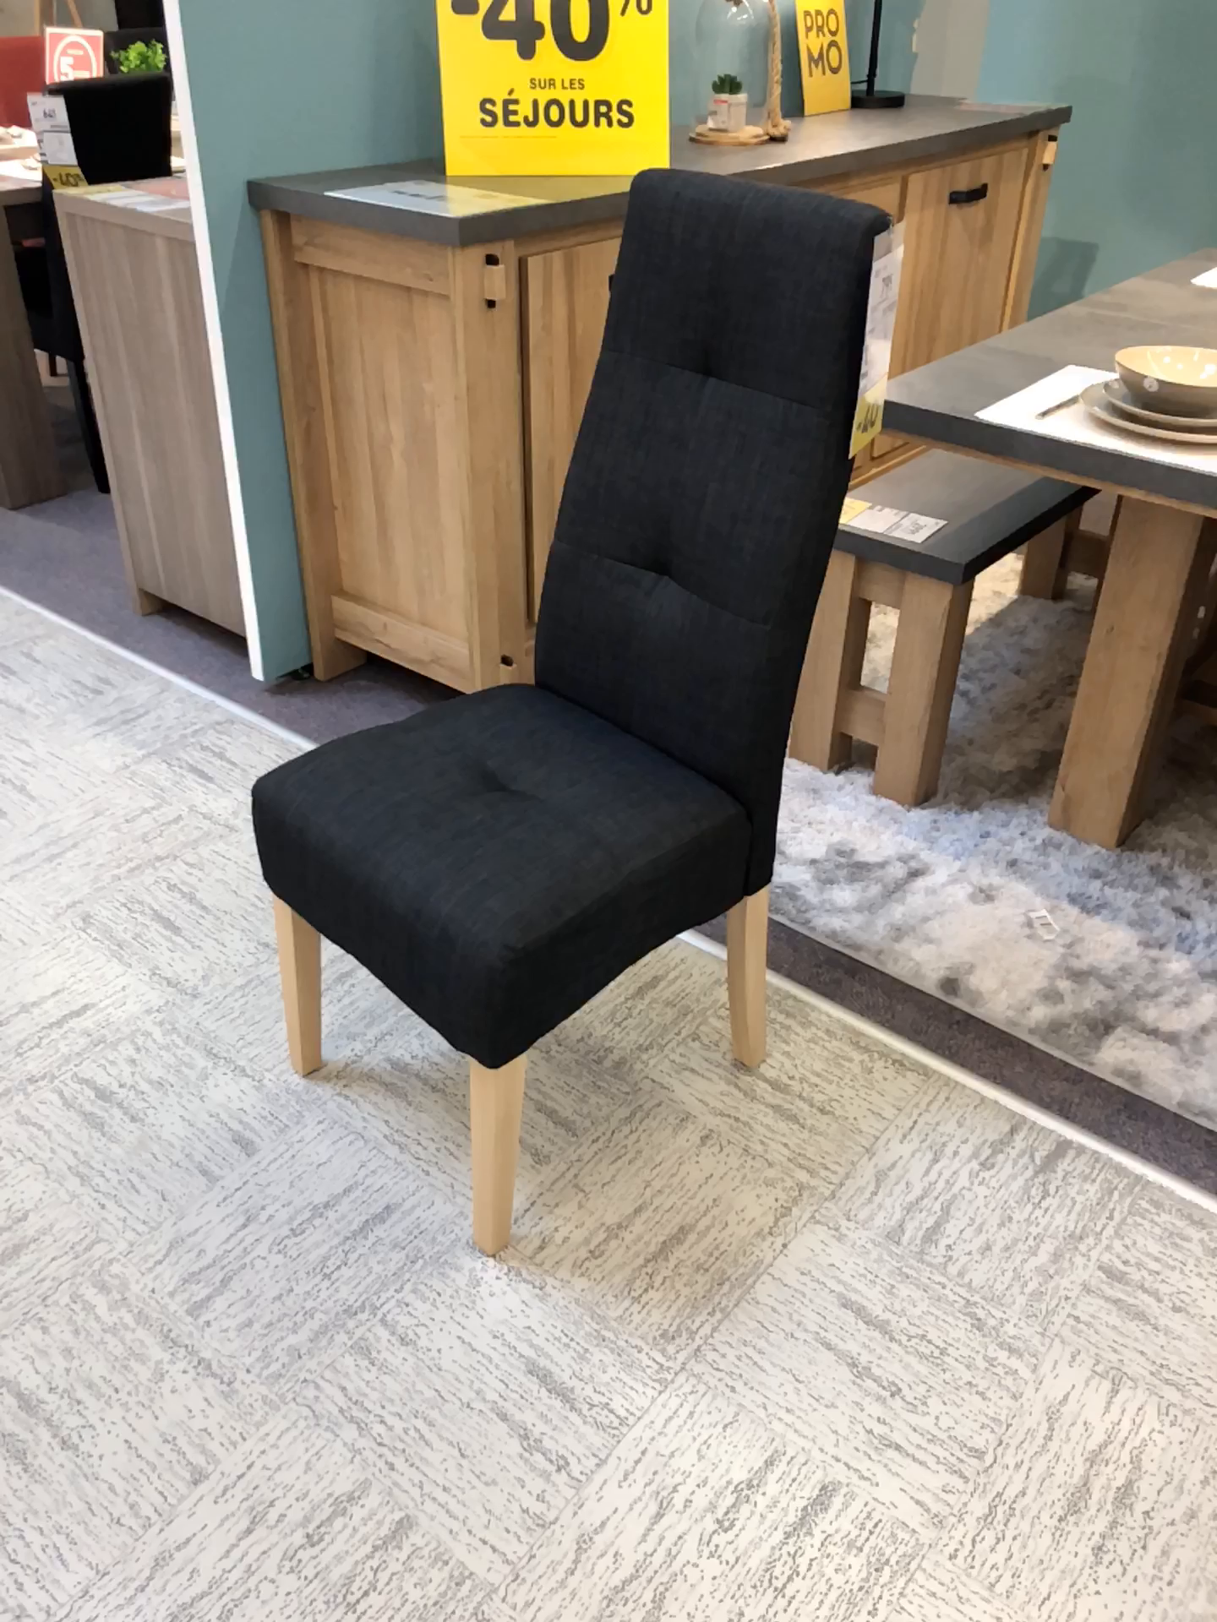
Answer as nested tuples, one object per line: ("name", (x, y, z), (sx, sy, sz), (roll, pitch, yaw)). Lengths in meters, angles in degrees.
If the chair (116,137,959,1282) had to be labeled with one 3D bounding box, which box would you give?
("chair", (-0.062, -0.130, 1.496), (0.603, 1.043, 0.480), (-28, 43, -37))
